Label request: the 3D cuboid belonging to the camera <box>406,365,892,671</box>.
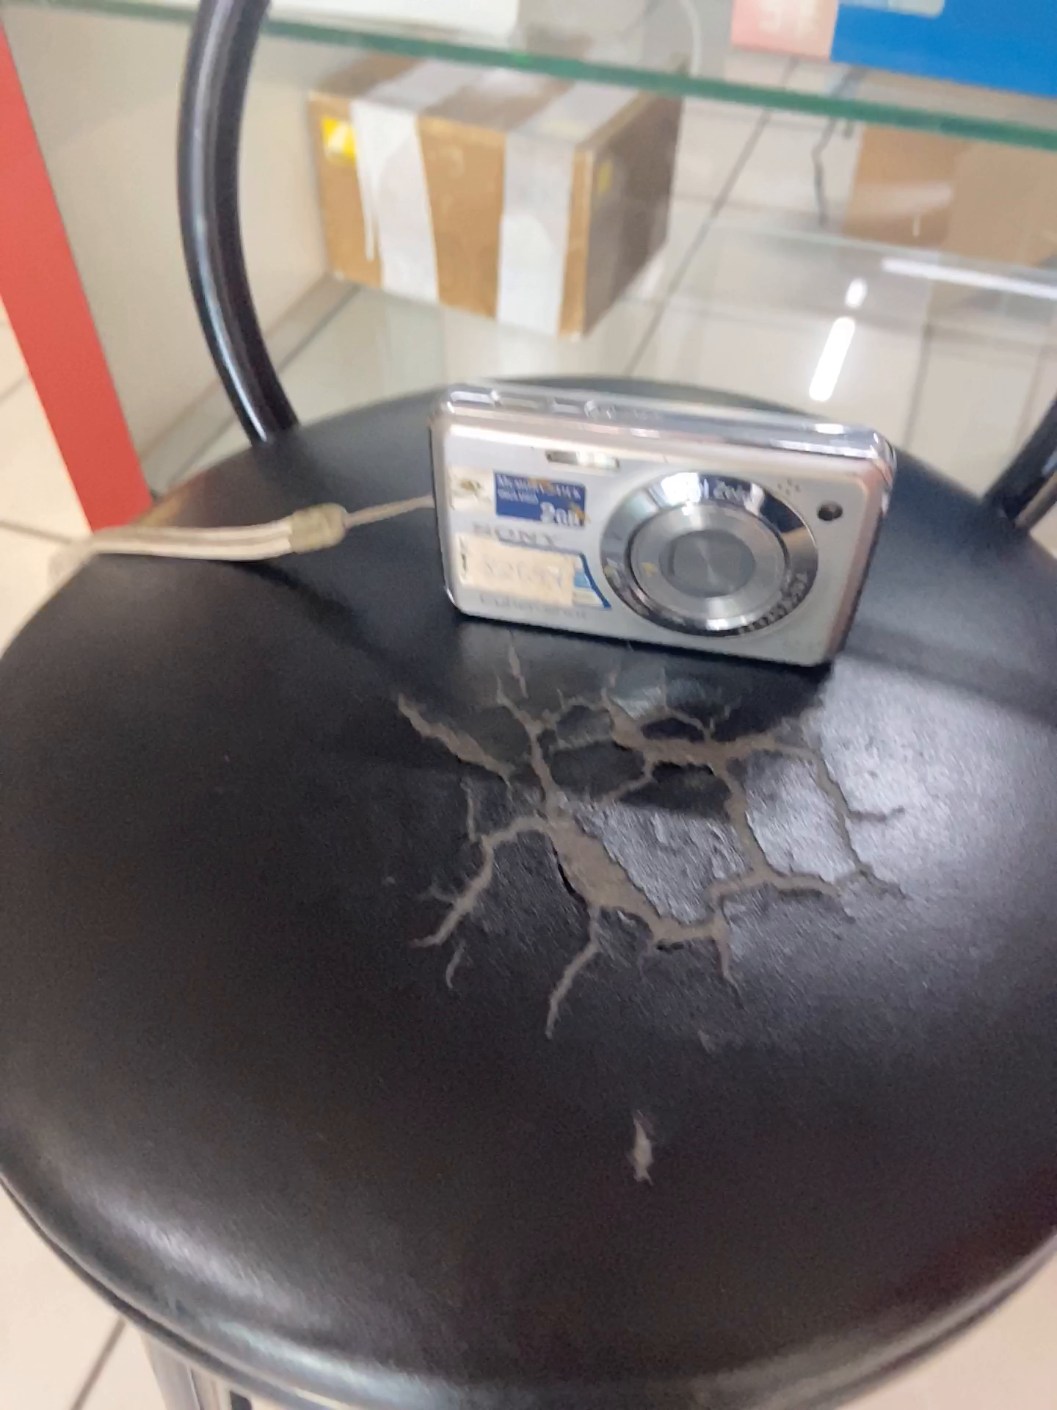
[{"bbox_3d":[0.024,-0.040,0.234,0.093,0.044,0.026,10,48,9],"label":"camera"}]
